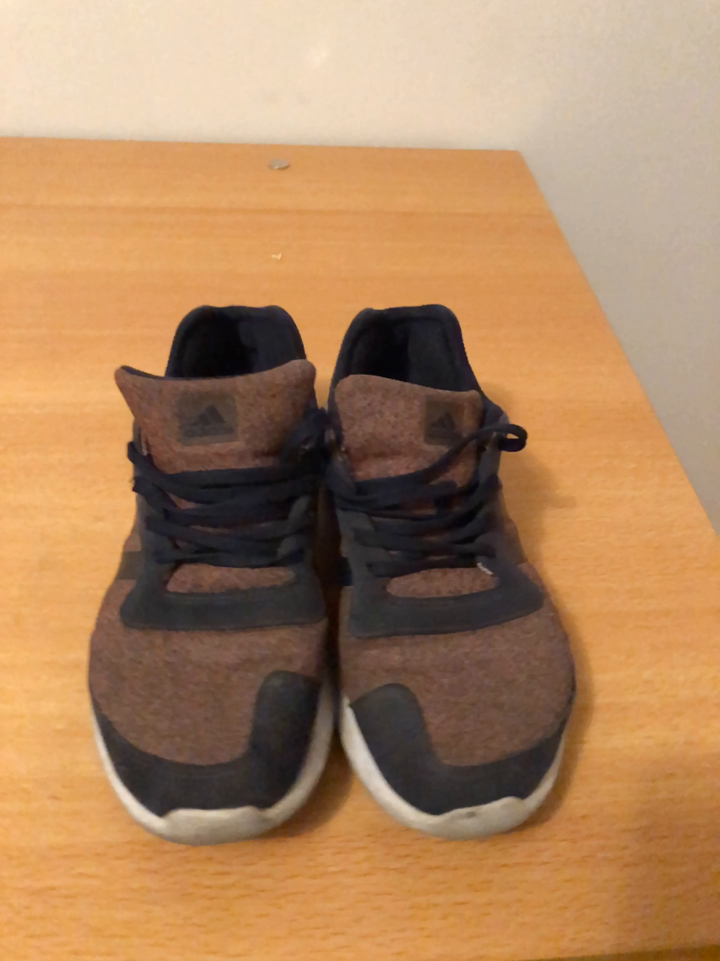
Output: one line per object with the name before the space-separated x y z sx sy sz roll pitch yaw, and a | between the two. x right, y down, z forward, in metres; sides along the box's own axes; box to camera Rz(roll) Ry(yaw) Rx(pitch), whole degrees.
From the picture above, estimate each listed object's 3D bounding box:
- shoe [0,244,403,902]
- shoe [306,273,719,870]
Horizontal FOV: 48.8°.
shoe | -0.073 0.008 0.377 0.130 0.099 0.312 -2 44 -7
shoe | 0.040 0.016 0.362 0.110 0.099 0.262 -2 44 -7
